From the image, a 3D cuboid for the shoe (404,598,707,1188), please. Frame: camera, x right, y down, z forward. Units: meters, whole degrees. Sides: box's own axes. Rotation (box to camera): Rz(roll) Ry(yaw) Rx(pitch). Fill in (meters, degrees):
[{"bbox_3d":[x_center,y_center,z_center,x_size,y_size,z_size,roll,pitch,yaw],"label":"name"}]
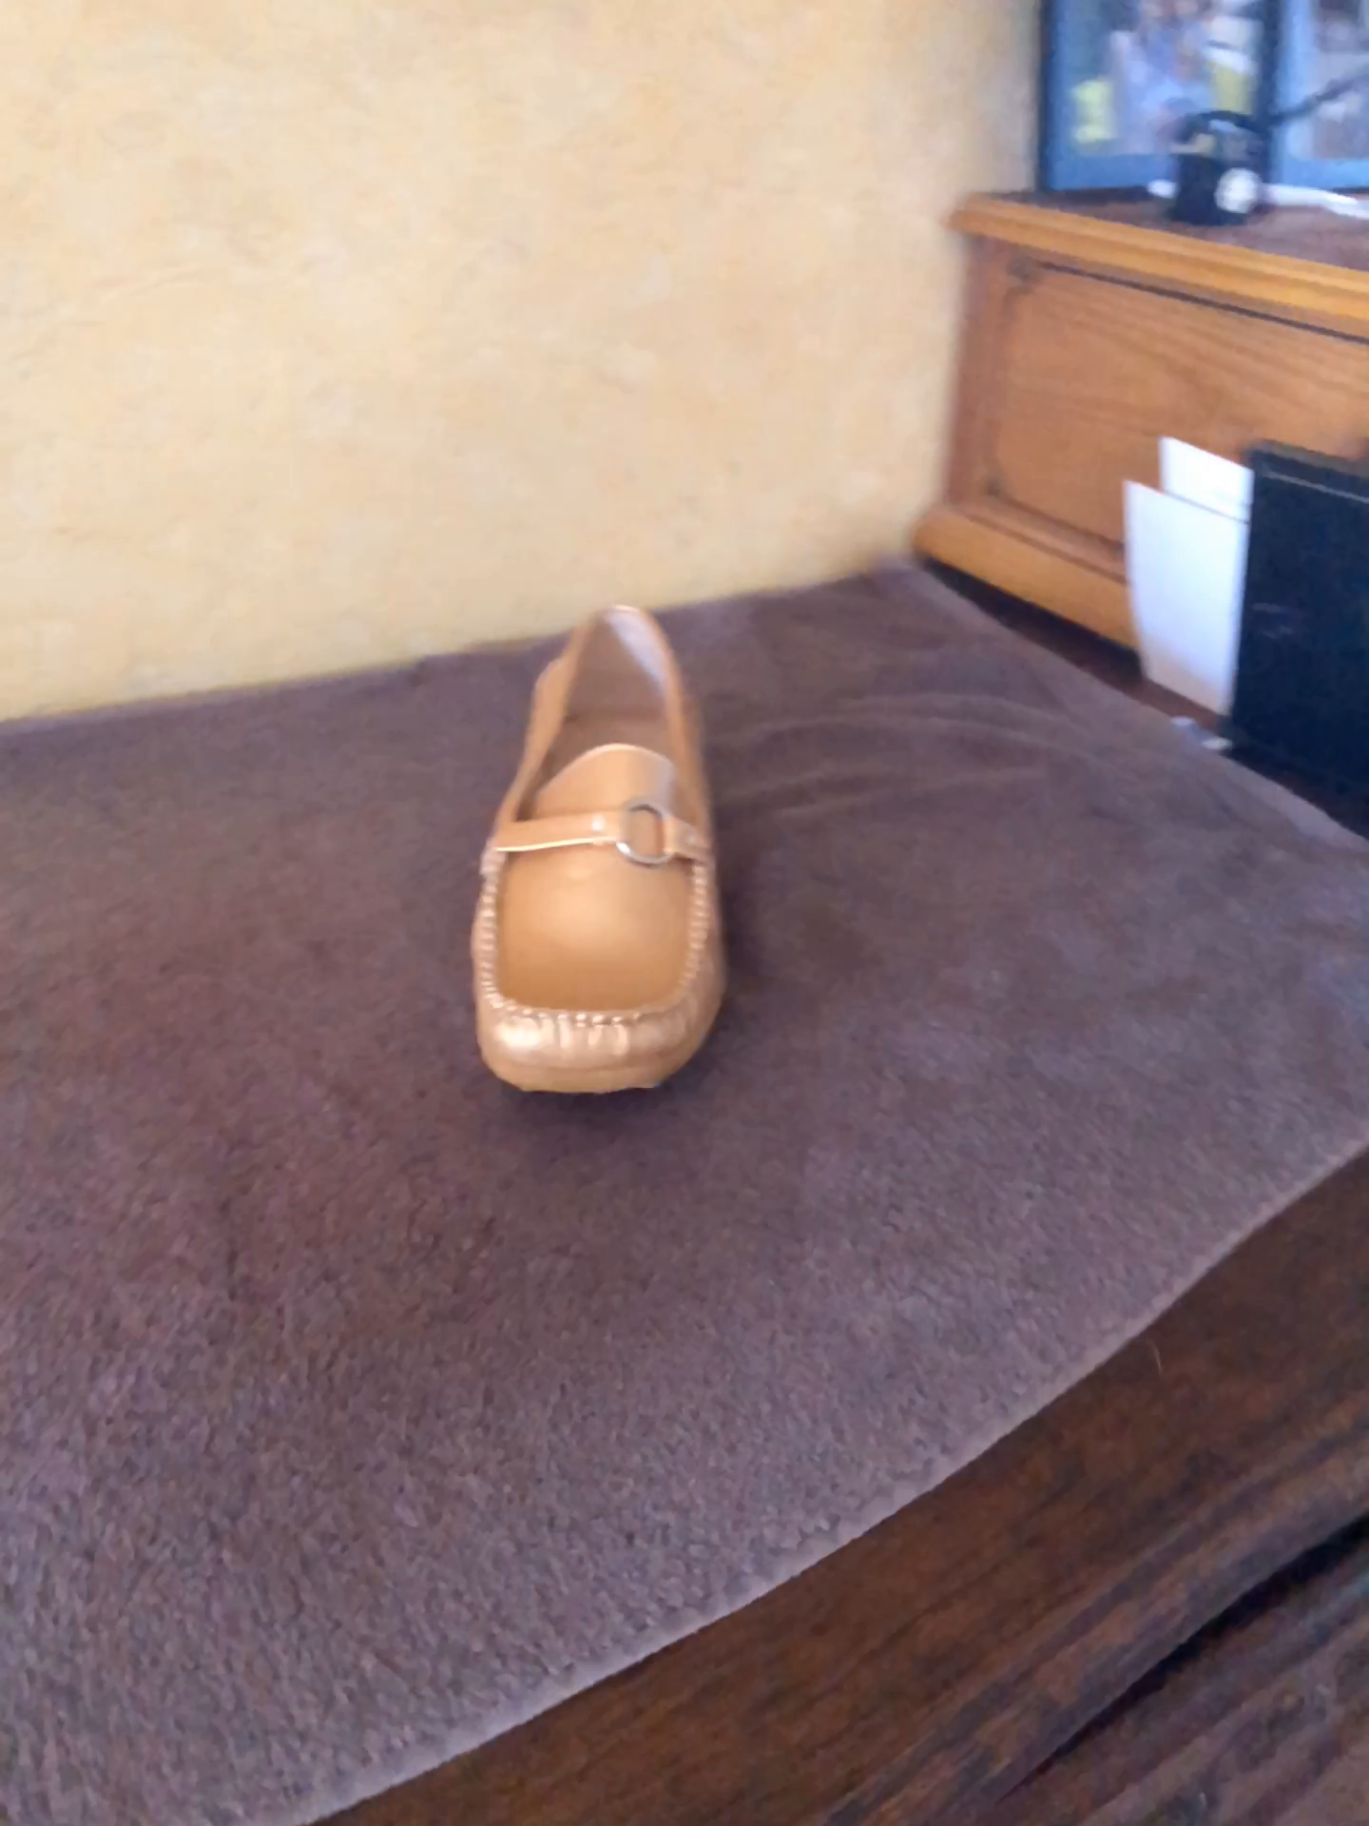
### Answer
[{"bbox_3d":[-0.034,-0.024,0.532,0.080,0.080,0.262,2,32,-1],"label":"shoe"}]
